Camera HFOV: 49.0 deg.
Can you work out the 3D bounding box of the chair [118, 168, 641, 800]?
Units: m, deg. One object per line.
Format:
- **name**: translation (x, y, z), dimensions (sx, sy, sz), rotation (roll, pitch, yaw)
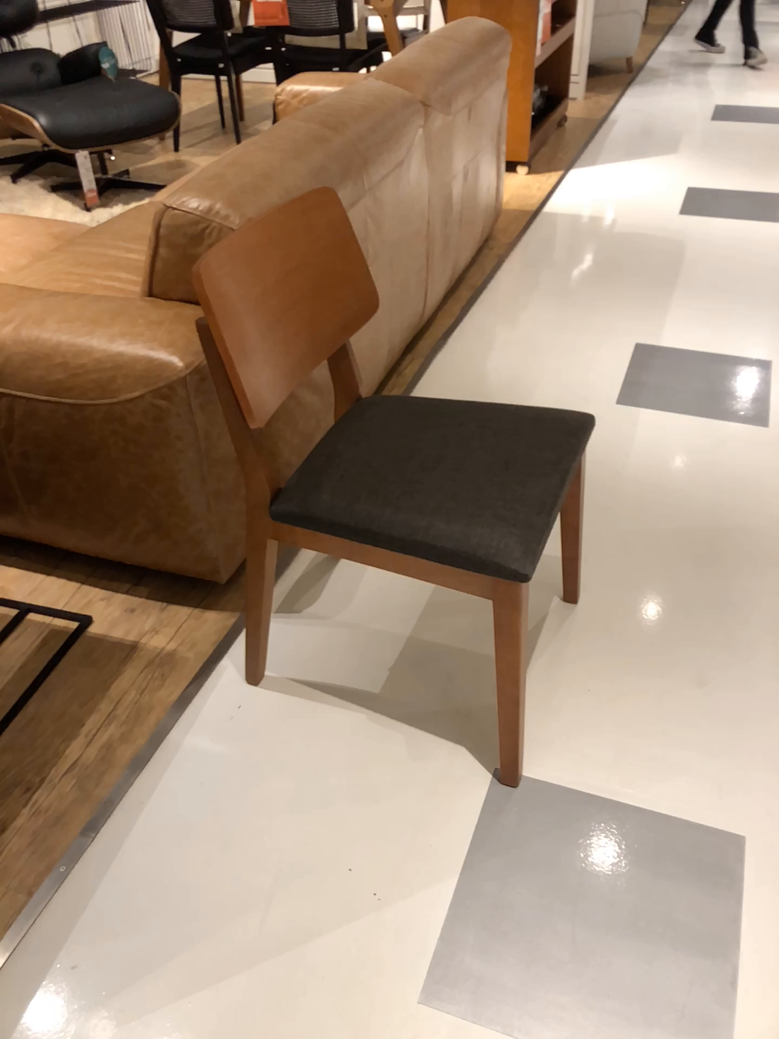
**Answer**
- **chair**: translation (0.027, -0.066, 1.380), dimensions (0.560, 0.794, 0.483), rotation (12, 39, 17)
